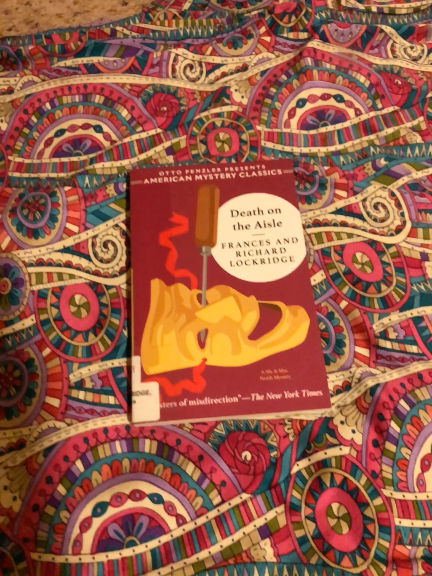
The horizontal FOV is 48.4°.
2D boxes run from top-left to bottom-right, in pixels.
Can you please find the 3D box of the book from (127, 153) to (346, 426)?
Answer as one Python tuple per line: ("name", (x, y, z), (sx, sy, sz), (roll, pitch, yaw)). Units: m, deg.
("book", (0.007, -0.007, 0.351), (0.137, 0.024, 0.196), (-4, 68, -3))
